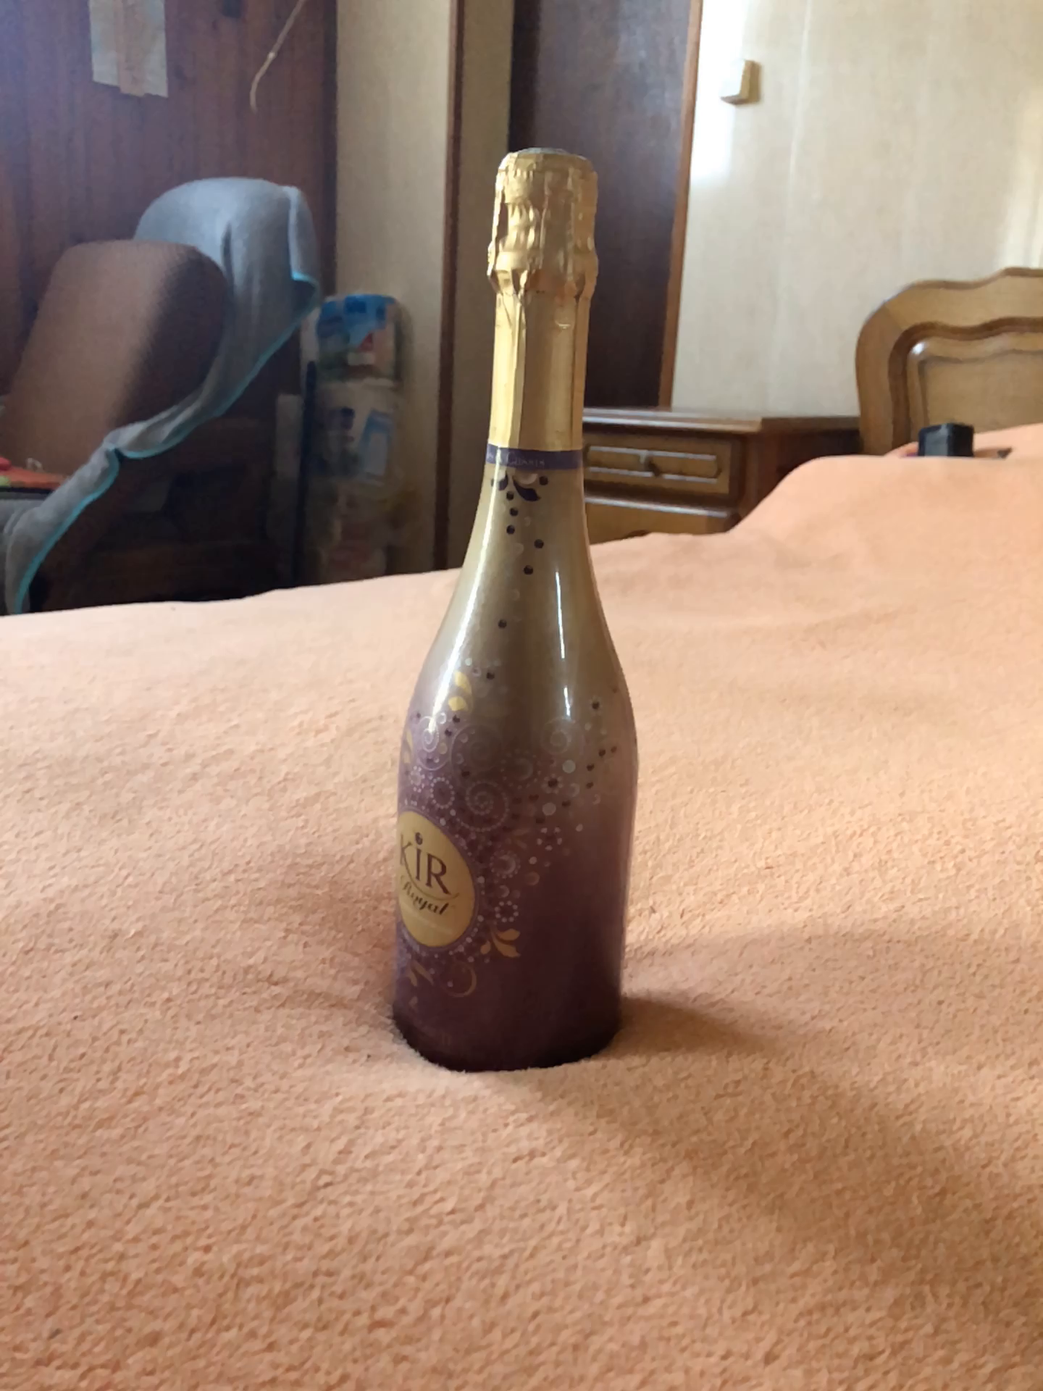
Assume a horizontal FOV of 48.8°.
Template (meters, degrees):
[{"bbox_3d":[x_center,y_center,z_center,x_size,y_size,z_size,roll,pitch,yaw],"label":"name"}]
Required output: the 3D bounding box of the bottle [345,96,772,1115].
[{"bbox_3d":[0.004,-0.026,0.403,0.090,0.309,0.090,4,16,-1],"label":"bottle"}]
